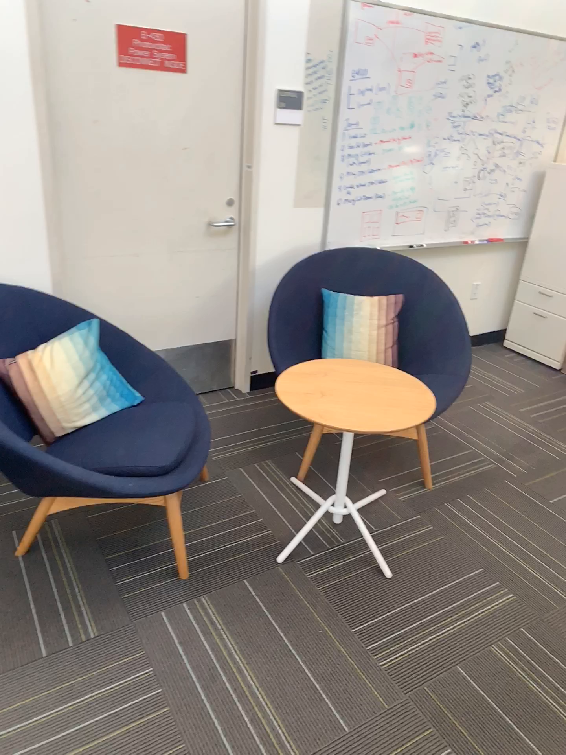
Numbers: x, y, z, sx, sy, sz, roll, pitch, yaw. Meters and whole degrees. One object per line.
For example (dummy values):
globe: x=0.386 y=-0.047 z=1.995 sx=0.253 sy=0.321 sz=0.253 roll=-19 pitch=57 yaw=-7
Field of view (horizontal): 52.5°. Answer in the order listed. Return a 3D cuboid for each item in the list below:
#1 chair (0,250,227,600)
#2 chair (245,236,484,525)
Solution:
chair: x=-0.700 y=0.097 z=1.997 sx=0.840 sy=0.835 sz=0.794 roll=6 pitch=25 yaw=5
chair: x=0.356 y=-0.063 z=2.728 sx=0.830 sy=0.945 sz=0.985 roll=8 pitch=25 yaw=7
